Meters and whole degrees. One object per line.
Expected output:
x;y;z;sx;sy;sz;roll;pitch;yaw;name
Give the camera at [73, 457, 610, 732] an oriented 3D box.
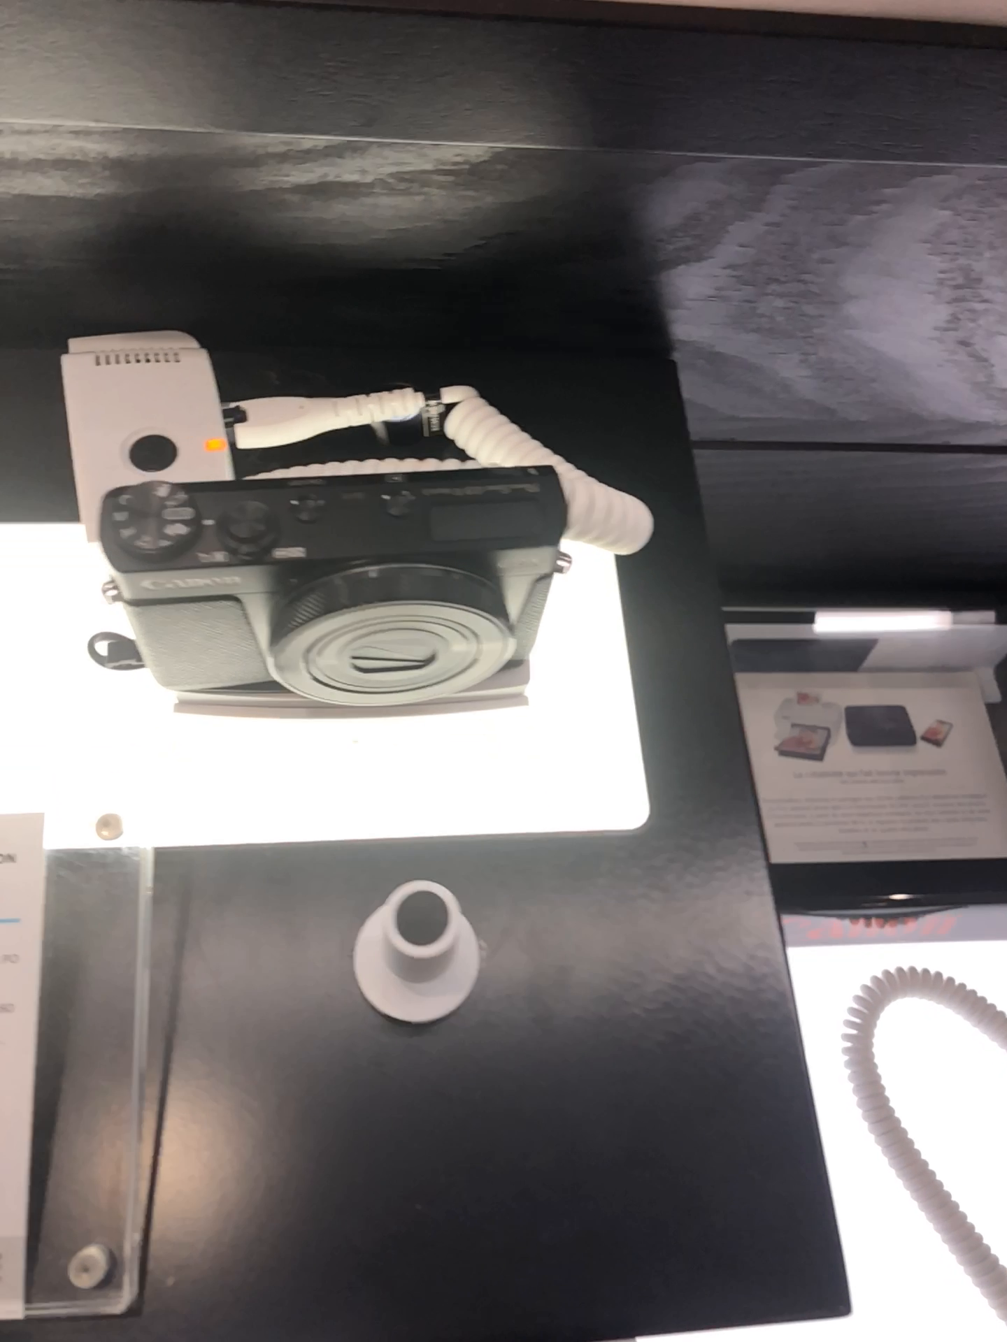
-0.033;-0.015;0.240;0.100;0.059;0.025;-5;62;-10;camera
